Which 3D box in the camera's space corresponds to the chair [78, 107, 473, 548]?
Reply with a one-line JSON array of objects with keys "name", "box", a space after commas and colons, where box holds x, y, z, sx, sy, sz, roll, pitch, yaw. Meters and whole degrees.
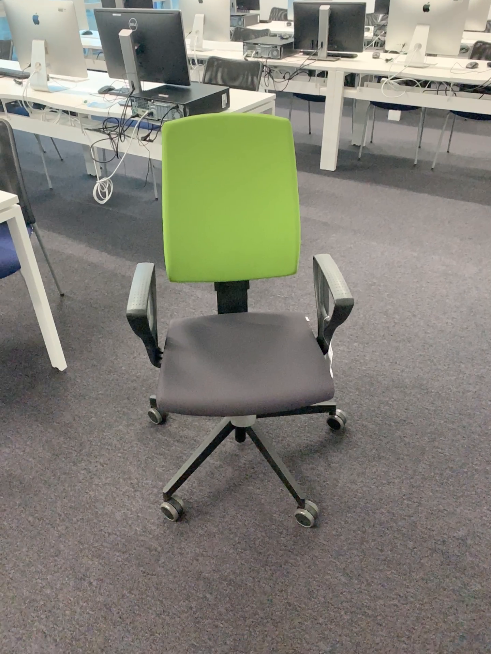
[{"name": "chair", "box": [0.027, 0.005, 1.481, 0.720, 1.054, 0.674, -5, 37, -6]}]
